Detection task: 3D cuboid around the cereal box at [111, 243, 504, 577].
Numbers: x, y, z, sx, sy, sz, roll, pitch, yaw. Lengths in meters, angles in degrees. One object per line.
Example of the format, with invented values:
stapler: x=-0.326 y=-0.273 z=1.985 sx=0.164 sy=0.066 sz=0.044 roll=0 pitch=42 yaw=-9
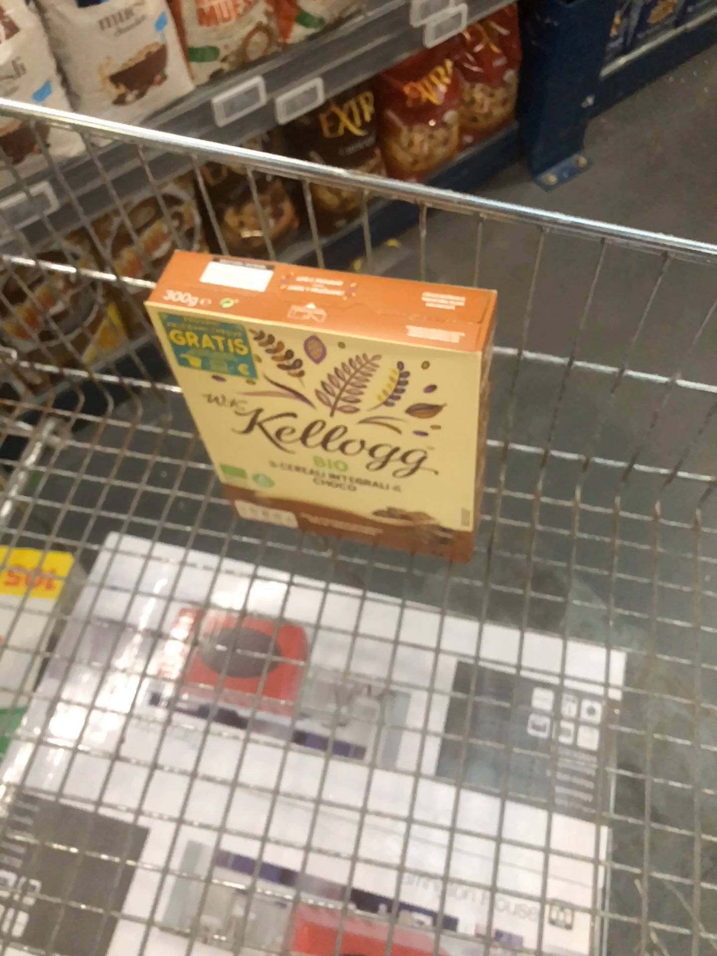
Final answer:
cereal box: x=-0.018 y=-0.032 z=0.515 sx=0.200 sy=0.219 sz=0.060 roll=10 pitch=58 yaw=13
